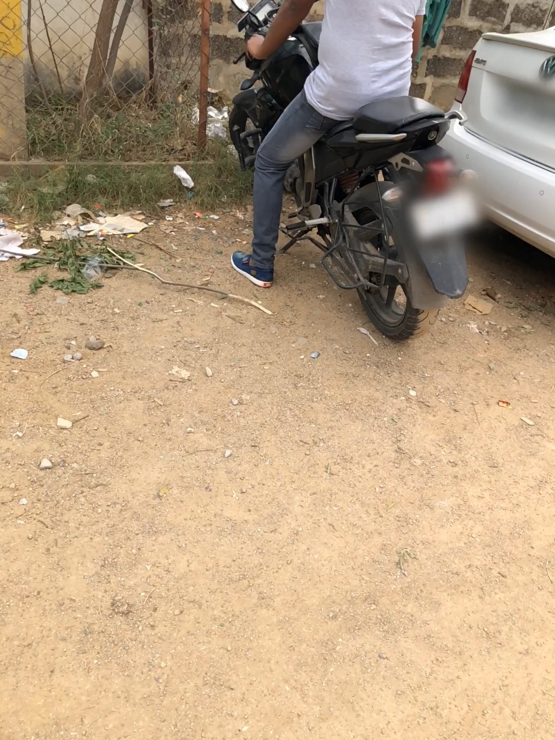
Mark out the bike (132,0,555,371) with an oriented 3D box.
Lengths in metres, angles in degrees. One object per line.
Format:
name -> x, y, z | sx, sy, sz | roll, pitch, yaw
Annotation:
bike -> 0.011, -1.014, 2.209 | 0.528, 1.094, 1.623 | -12, 44, -28
